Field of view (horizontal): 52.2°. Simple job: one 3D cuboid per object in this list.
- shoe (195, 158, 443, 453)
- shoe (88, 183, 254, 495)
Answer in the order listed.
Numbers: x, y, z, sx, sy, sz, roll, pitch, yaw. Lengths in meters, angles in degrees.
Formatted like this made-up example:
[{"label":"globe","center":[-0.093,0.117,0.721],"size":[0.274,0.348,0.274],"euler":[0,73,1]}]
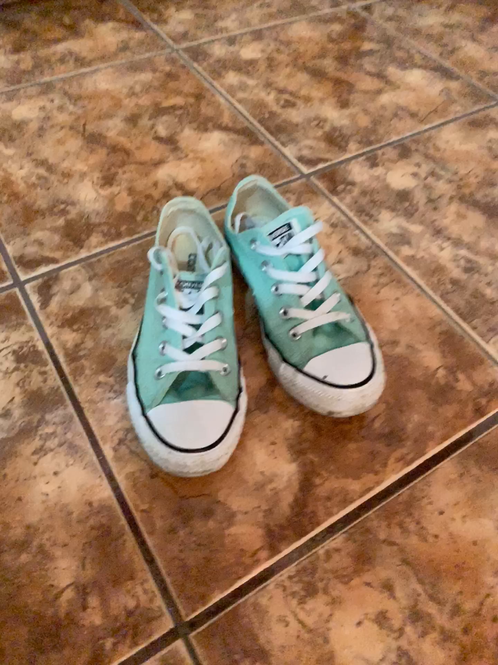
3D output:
[{"label":"shoe","center":[0.041,-0.037,0.439],"size":[0.095,0.084,0.244],"euler":[-18,55,-16]},{"label":"shoe","center":[-0.052,-0.006,0.414],"size":[0.098,0.094,0.244],"euler":[0,53,-3]}]
